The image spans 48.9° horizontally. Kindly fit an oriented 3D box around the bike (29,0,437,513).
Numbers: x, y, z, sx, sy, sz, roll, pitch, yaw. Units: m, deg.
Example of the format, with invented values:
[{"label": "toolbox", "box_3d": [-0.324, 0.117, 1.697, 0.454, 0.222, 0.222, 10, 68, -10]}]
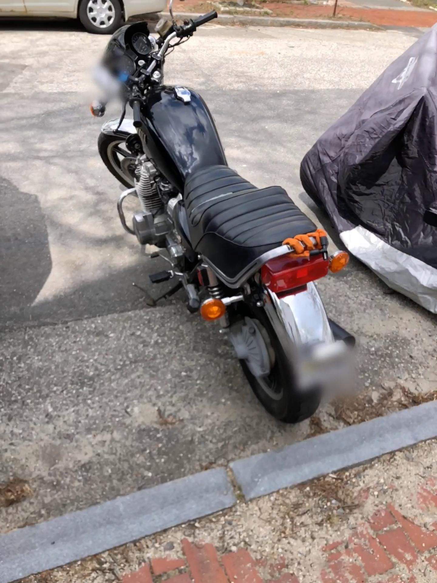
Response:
[{"label": "bike", "box_3d": [-0.214, -0.473, 2.264, 0.687, 1.418, 2.307, -14, 42, -21]}]
